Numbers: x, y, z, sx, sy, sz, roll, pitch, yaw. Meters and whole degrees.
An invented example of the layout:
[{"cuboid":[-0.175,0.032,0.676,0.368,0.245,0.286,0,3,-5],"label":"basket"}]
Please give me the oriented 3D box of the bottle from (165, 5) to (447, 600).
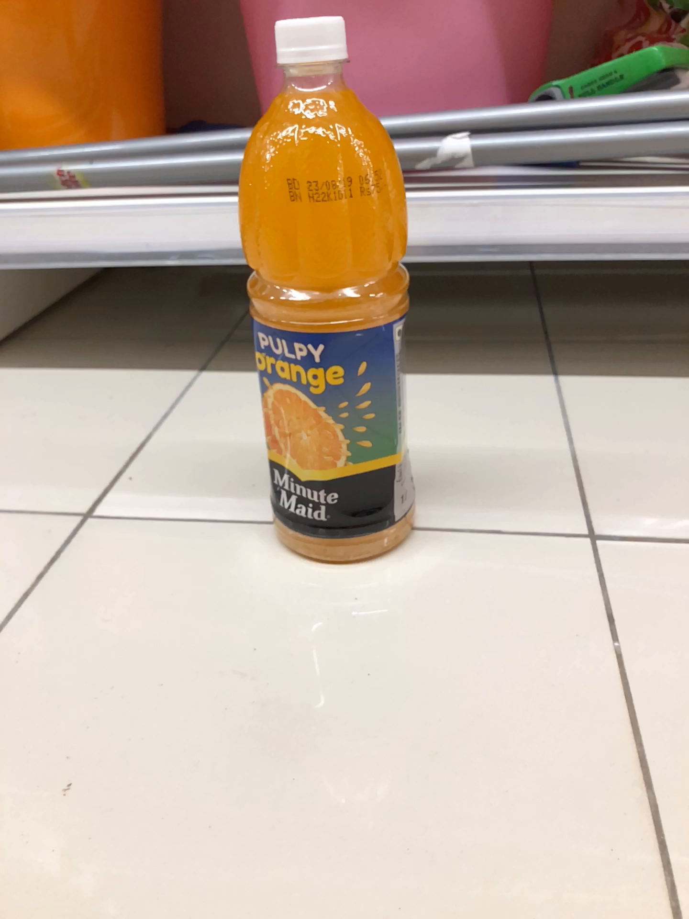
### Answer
[{"cuboid":[-0.009,-0.072,0.391,0.090,0.268,0.080,20,36,36],"label":"bottle"}]
